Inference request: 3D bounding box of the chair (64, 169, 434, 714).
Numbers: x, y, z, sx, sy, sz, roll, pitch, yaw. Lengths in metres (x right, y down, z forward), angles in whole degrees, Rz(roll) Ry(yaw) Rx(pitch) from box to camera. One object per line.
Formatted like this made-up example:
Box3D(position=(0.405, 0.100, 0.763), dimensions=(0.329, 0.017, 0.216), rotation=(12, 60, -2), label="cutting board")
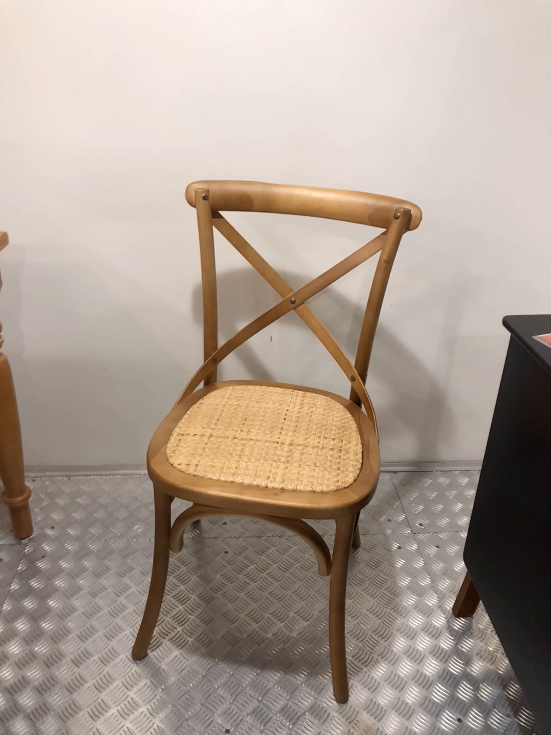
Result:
Box3D(position=(-0.006, 0.116, 1.230), dimensions=(0.500, 0.873, 0.544), rotation=(8, 28, 10), label="chair")
